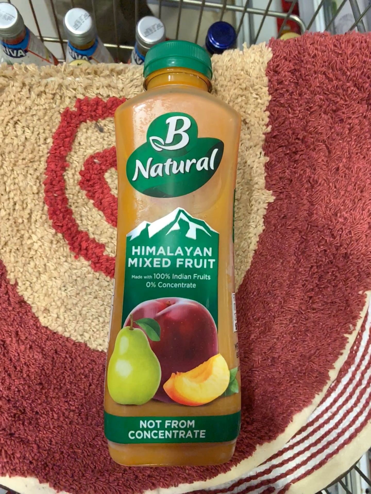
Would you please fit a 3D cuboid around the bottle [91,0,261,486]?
[{"bbox_3d":[-0.003,-0.010,0.211,0.070,0.070,0.230,2,81,-4],"label":"bottle"}]
